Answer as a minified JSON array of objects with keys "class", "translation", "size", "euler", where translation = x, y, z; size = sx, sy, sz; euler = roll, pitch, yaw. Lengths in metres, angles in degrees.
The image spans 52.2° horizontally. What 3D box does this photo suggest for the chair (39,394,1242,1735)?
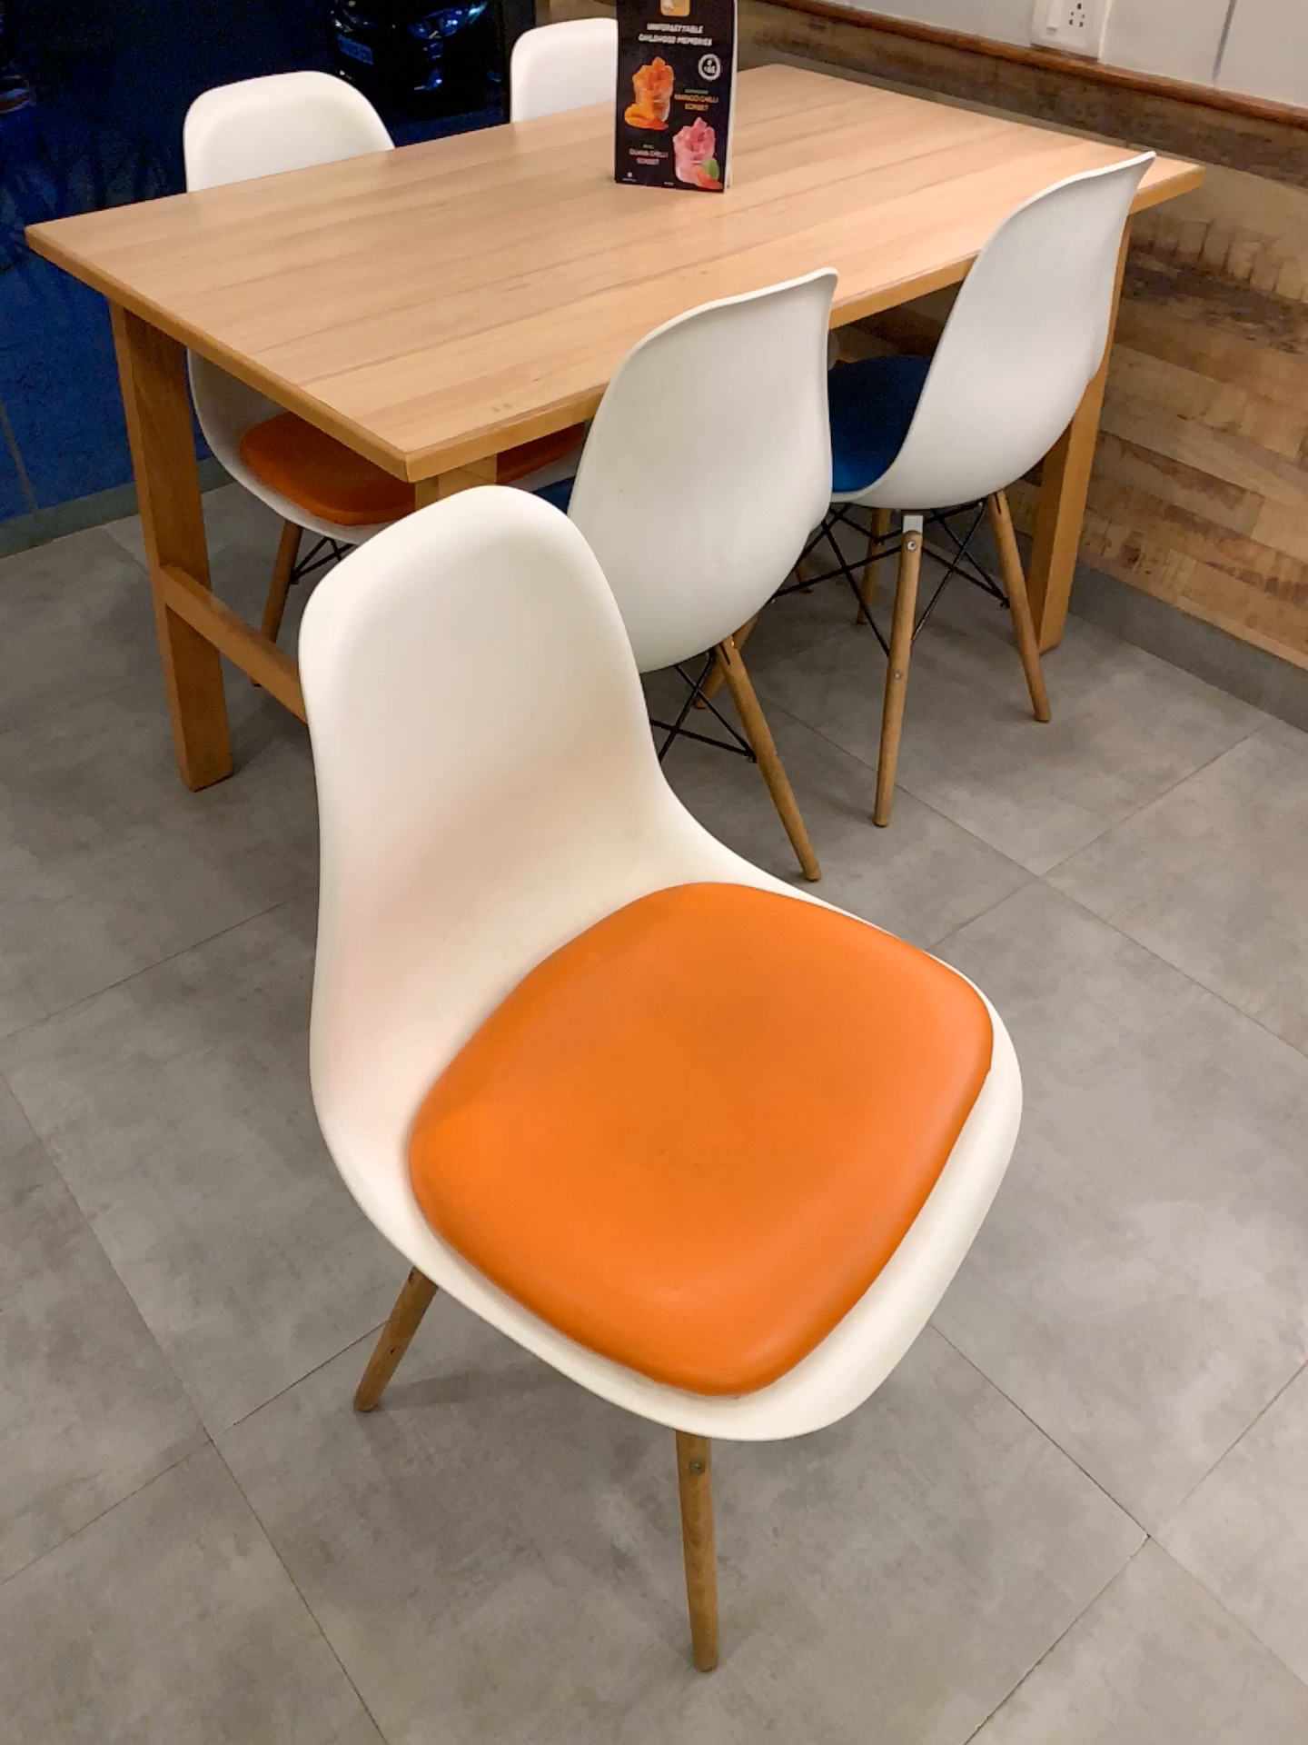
[{"class":"chair","translation":[0.007,0.132,0.973],"size":[0.482,0.704,0.472],"euler":[26,48,26]}]
